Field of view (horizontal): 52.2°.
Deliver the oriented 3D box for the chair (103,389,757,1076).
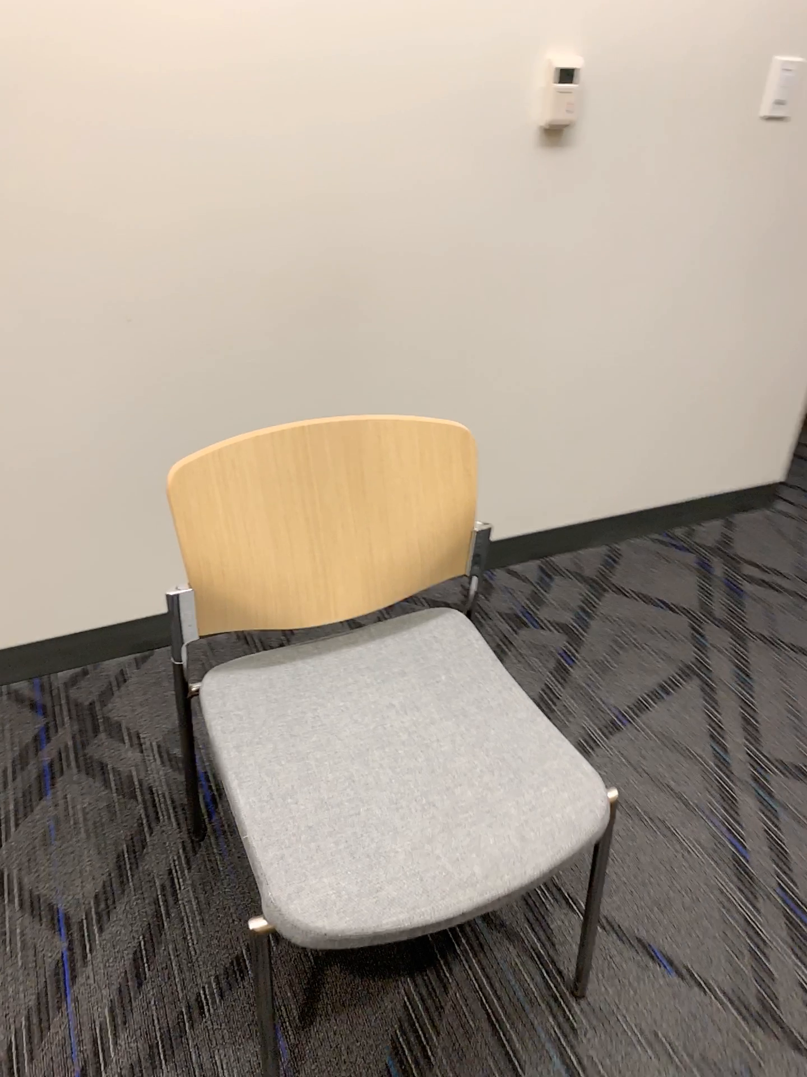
[{"bbox_3d":[-0.022,0.264,1.109,0.554,0.704,0.539,-12,35,-22],"label":"chair"}]
